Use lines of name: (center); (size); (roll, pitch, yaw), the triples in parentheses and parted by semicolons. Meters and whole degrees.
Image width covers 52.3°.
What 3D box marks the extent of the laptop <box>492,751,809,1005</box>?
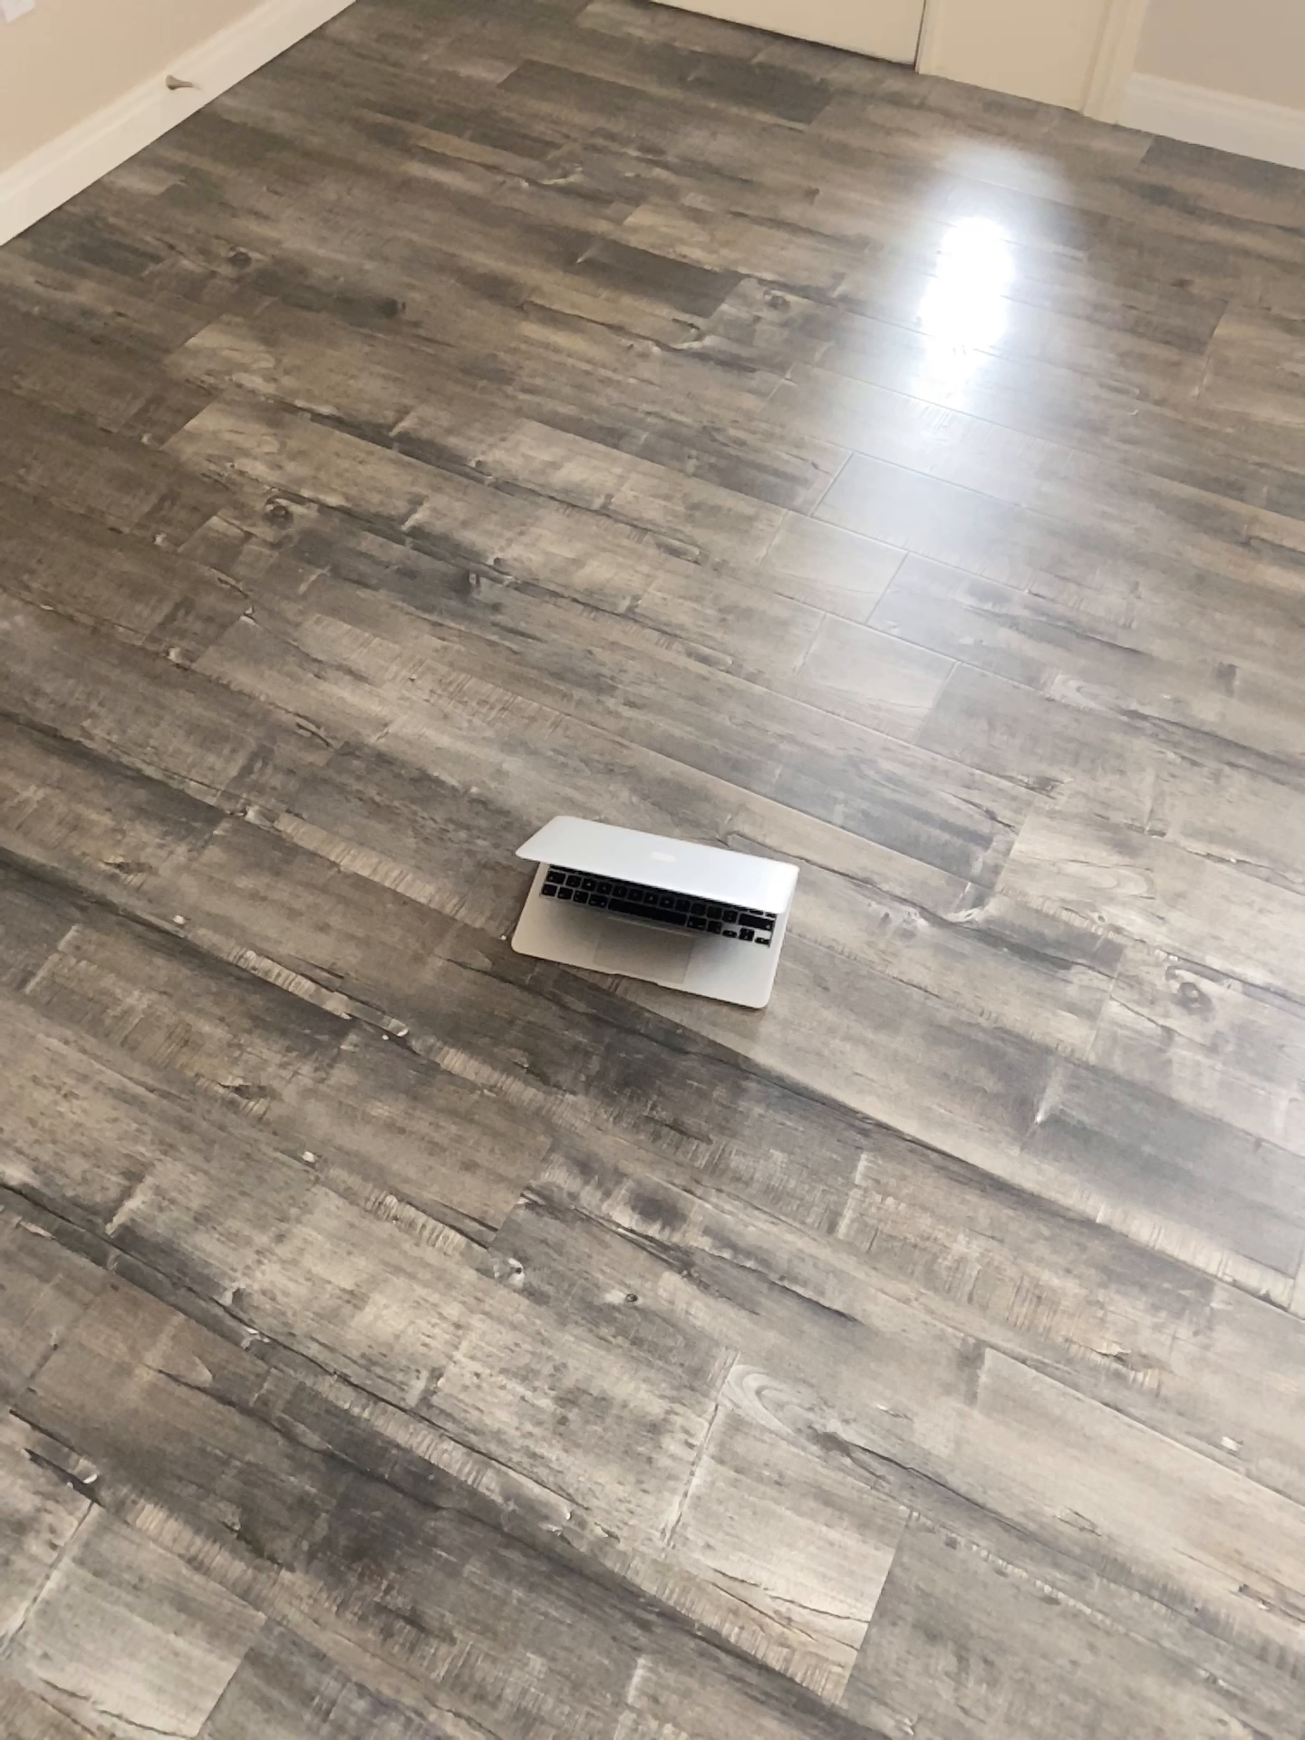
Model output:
laptop: (0.002, 0.006, 1.343); (0.270, 0.113, 0.173); (13, 54, 7)
